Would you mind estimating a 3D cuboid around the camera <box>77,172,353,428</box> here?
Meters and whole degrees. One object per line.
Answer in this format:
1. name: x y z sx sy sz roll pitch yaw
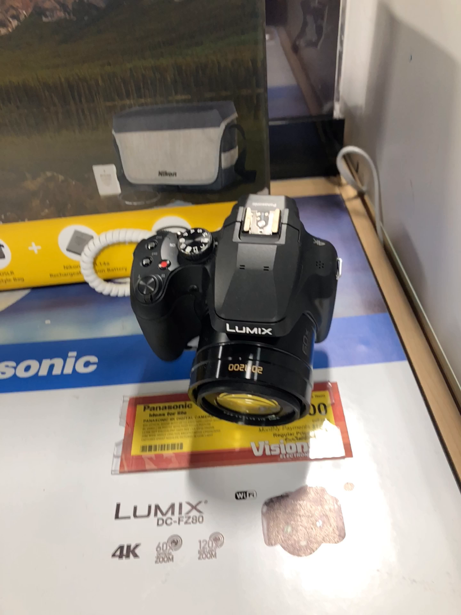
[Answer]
1. camera: 0.002 -0.003 0.287 0.120 0.099 0.101 2 55 9
